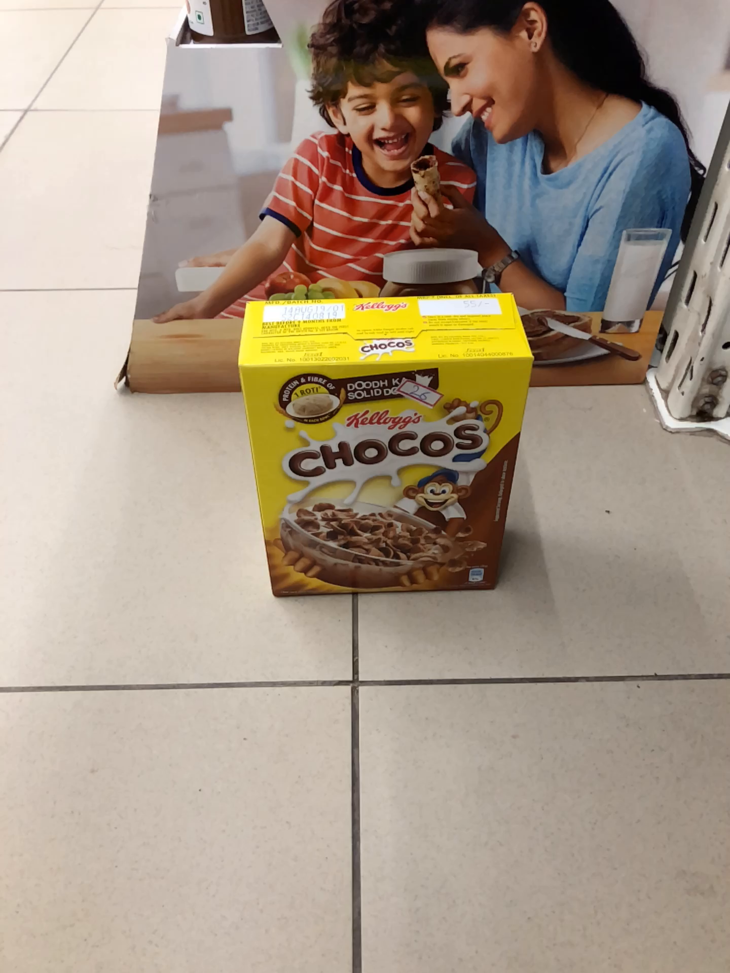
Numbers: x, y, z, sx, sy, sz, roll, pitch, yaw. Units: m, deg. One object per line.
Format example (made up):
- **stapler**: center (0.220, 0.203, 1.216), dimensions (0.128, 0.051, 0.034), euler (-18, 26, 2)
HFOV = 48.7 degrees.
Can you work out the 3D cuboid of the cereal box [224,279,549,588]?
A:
- **cereal box**: center (0.009, -0.020, 0.424), dimensions (0.140, 0.169, 0.050), euler (-2, 46, -1)
